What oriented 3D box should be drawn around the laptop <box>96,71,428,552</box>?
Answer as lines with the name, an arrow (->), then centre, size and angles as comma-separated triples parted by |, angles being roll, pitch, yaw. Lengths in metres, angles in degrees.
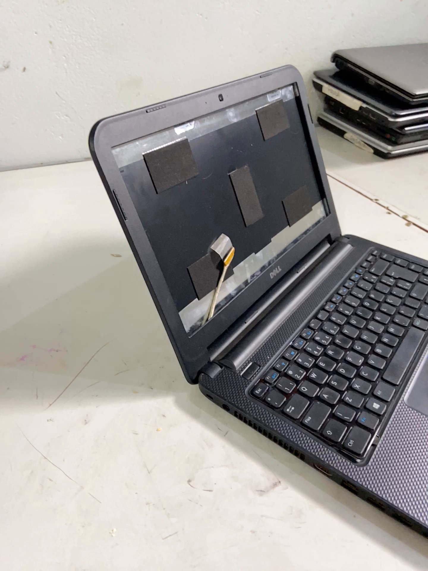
laptop -> 0.139, -0.044, 0.407 | 0.335, 0.193, 0.321 | 25, 43, 28
